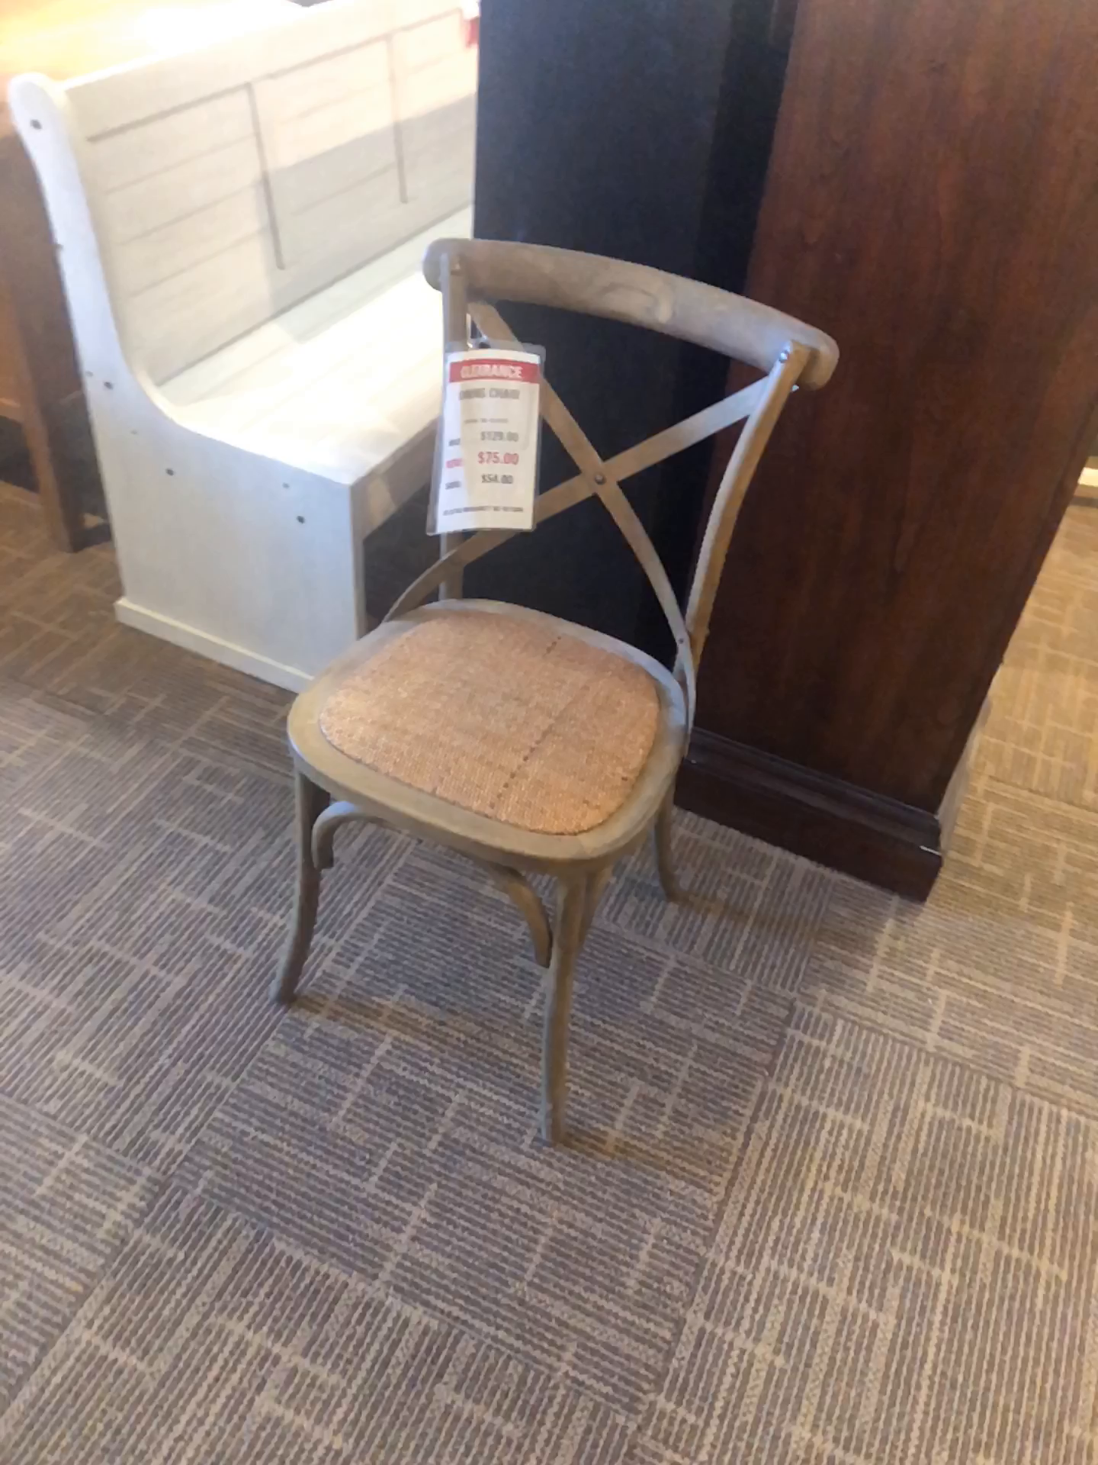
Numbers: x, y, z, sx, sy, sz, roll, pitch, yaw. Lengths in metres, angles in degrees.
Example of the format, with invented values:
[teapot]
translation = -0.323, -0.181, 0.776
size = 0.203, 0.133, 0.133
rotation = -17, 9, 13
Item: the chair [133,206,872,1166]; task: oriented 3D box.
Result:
[chair]
translation = -0.043, -0.040, 1.402
size = 0.490, 0.861, 0.531
rotation = 22, 44, 17
